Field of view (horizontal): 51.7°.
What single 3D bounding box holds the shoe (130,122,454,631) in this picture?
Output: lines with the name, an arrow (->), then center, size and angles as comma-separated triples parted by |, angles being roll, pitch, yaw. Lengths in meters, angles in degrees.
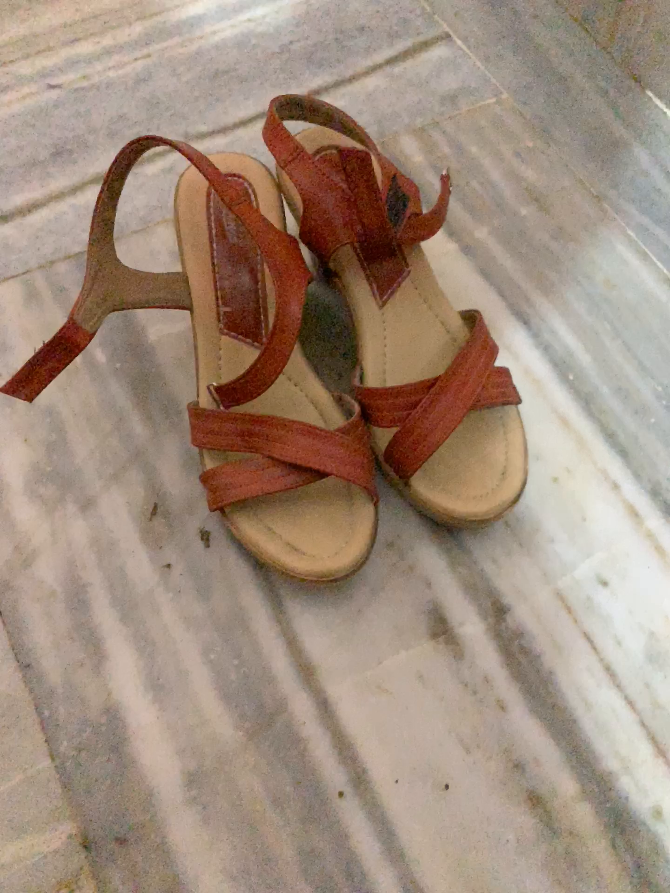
shoe -> -0.032, -0.040, 0.372 | 0.100, 0.100, 0.240 | -13, 67, -8

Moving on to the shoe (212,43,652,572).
shoe -> 0.032, -0.075, 0.360 | 0.100, 0.100, 0.240 | -22, 69, -12
